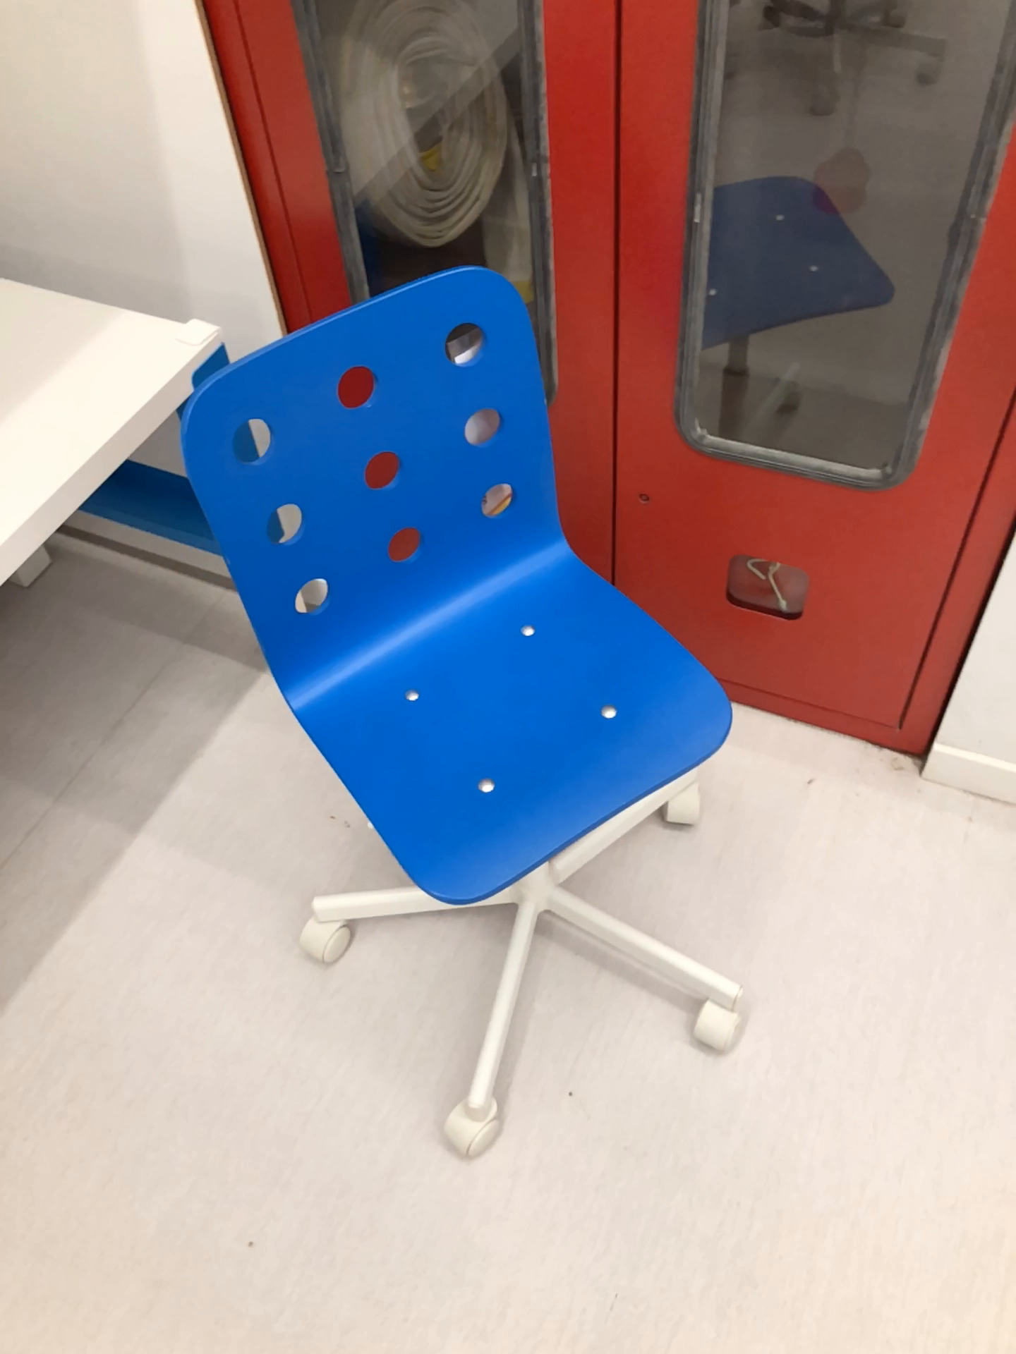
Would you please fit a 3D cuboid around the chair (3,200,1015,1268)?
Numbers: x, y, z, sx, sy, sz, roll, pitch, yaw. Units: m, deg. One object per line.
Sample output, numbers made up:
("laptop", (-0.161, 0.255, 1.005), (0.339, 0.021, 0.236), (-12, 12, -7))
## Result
("chair", (0.016, 0.053, 1.056), (0.571, 0.626, 0.562), (-30, 54, -18))
